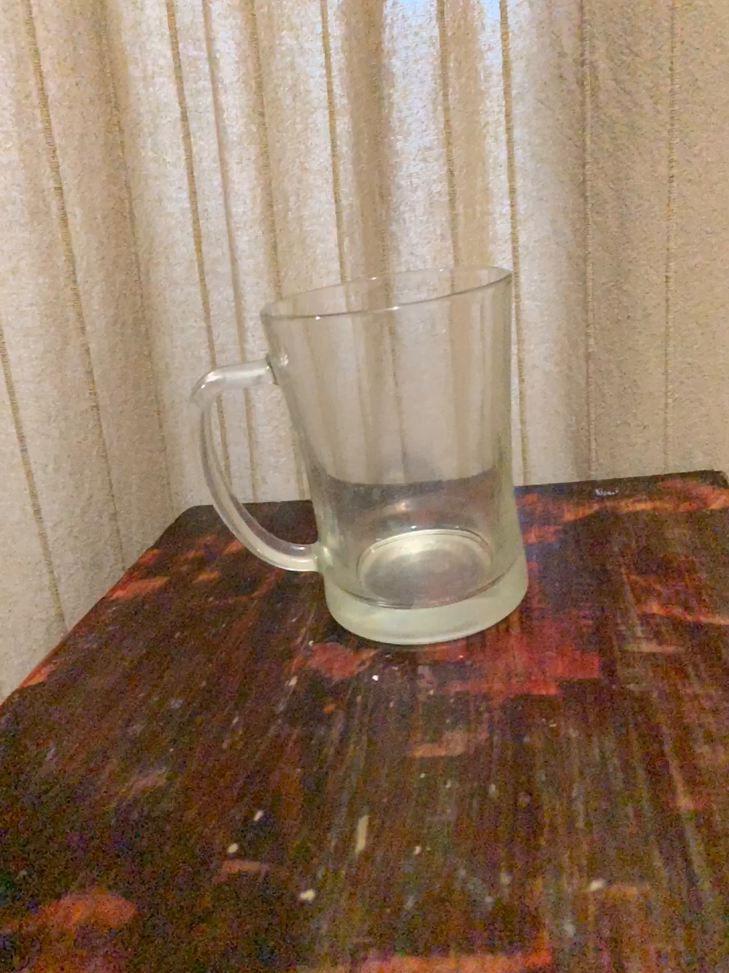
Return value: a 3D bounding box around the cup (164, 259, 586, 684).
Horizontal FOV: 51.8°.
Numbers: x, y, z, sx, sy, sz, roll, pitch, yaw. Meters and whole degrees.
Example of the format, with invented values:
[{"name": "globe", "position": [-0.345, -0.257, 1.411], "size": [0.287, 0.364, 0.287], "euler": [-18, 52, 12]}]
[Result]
[{"name": "cup", "position": [0.005, -0.015, 0.322], "size": [0.142, 0.135, 0.101], "euler": [-9, 20, -6]}]
